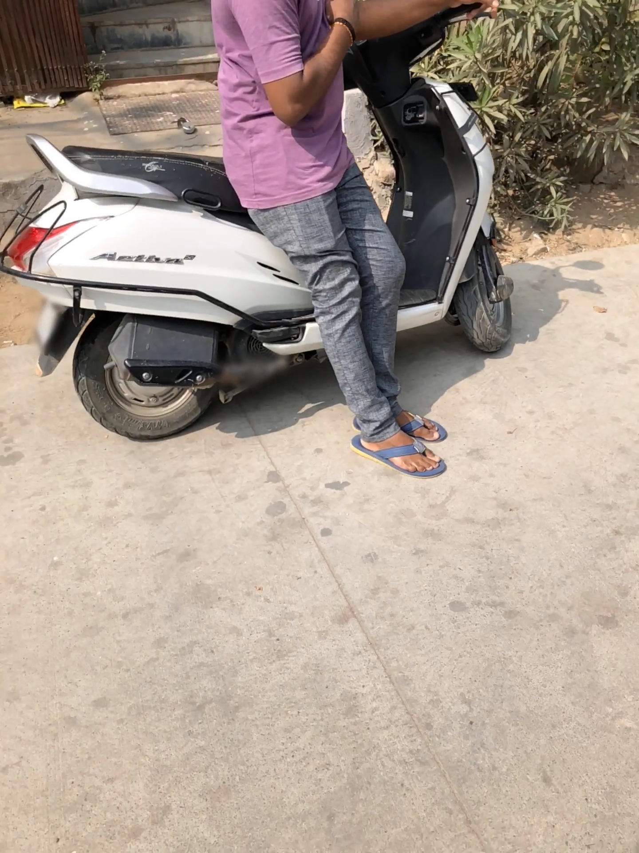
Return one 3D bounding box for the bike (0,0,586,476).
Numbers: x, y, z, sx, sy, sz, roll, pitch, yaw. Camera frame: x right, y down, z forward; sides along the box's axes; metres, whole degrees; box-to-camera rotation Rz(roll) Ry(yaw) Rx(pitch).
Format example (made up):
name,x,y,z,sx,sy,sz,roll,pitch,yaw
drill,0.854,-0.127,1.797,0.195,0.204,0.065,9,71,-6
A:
name,x,y,z,sx,sy,sz,roll,pitch,yaw
bike,-0.061,-0.685,2.134,1.526,1.008,0.649,-21,43,-25
